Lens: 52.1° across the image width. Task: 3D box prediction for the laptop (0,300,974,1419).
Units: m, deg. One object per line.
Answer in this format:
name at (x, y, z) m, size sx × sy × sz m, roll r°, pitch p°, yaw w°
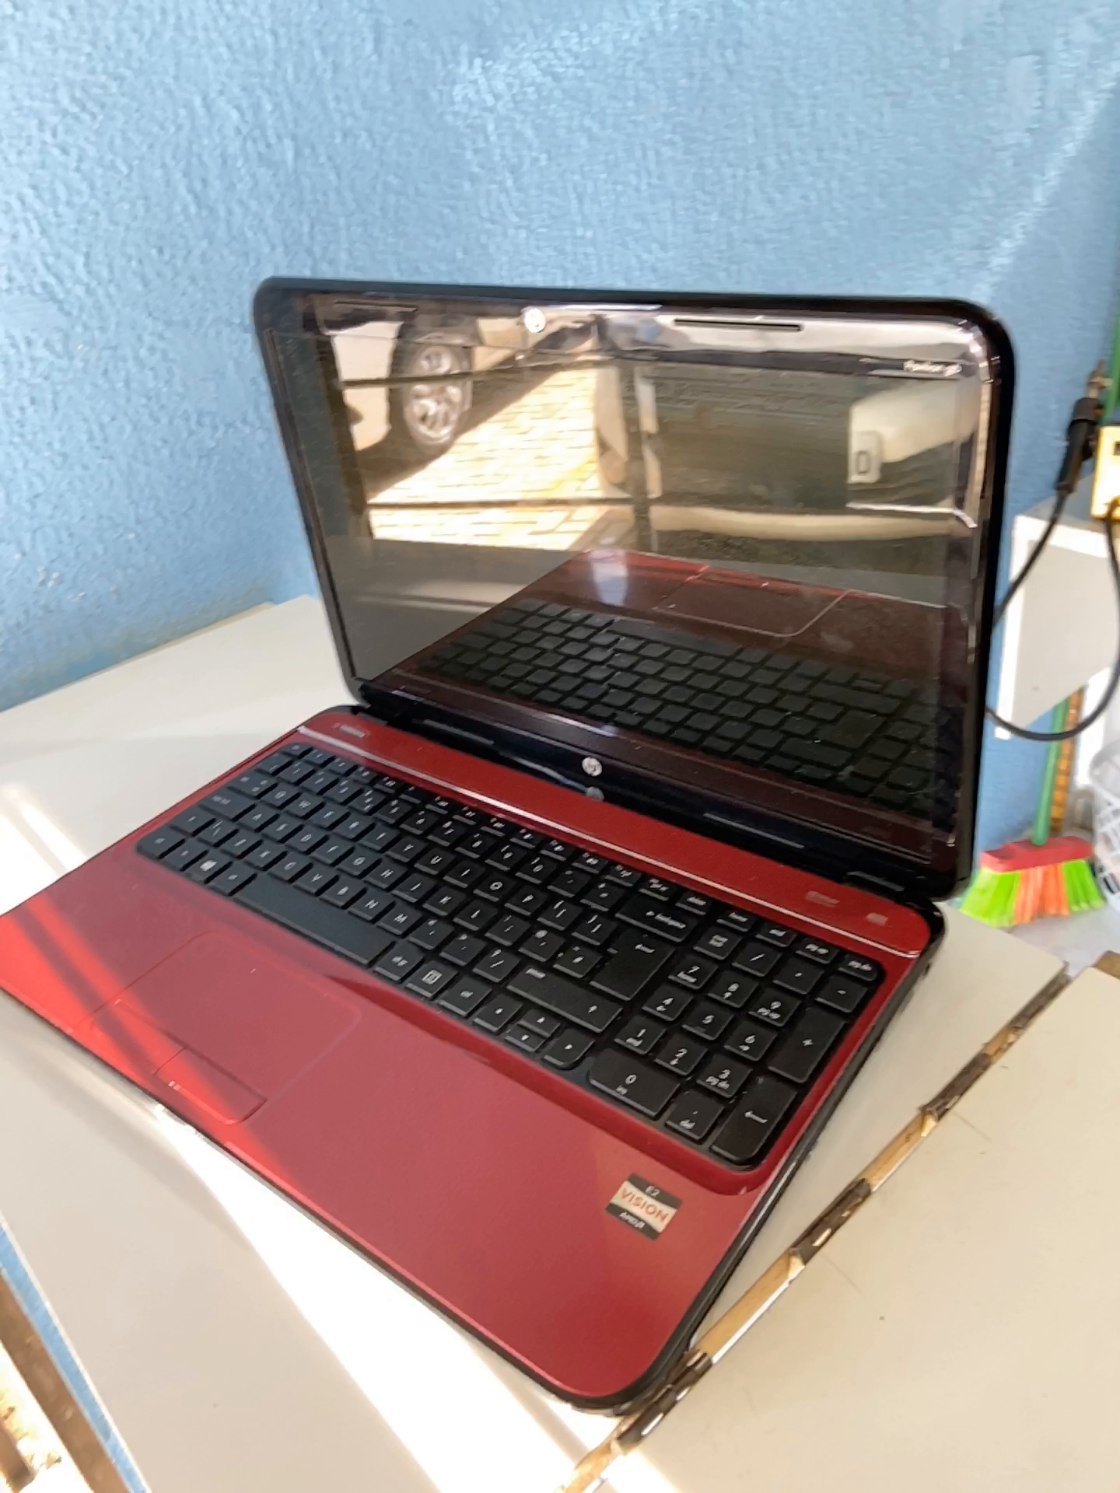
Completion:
laptop at (-0.073, -0.019, 0.419) m, size 0.357 × 0.221 × 0.228 m, roll 17°, pitch 39°, yaw 36°
